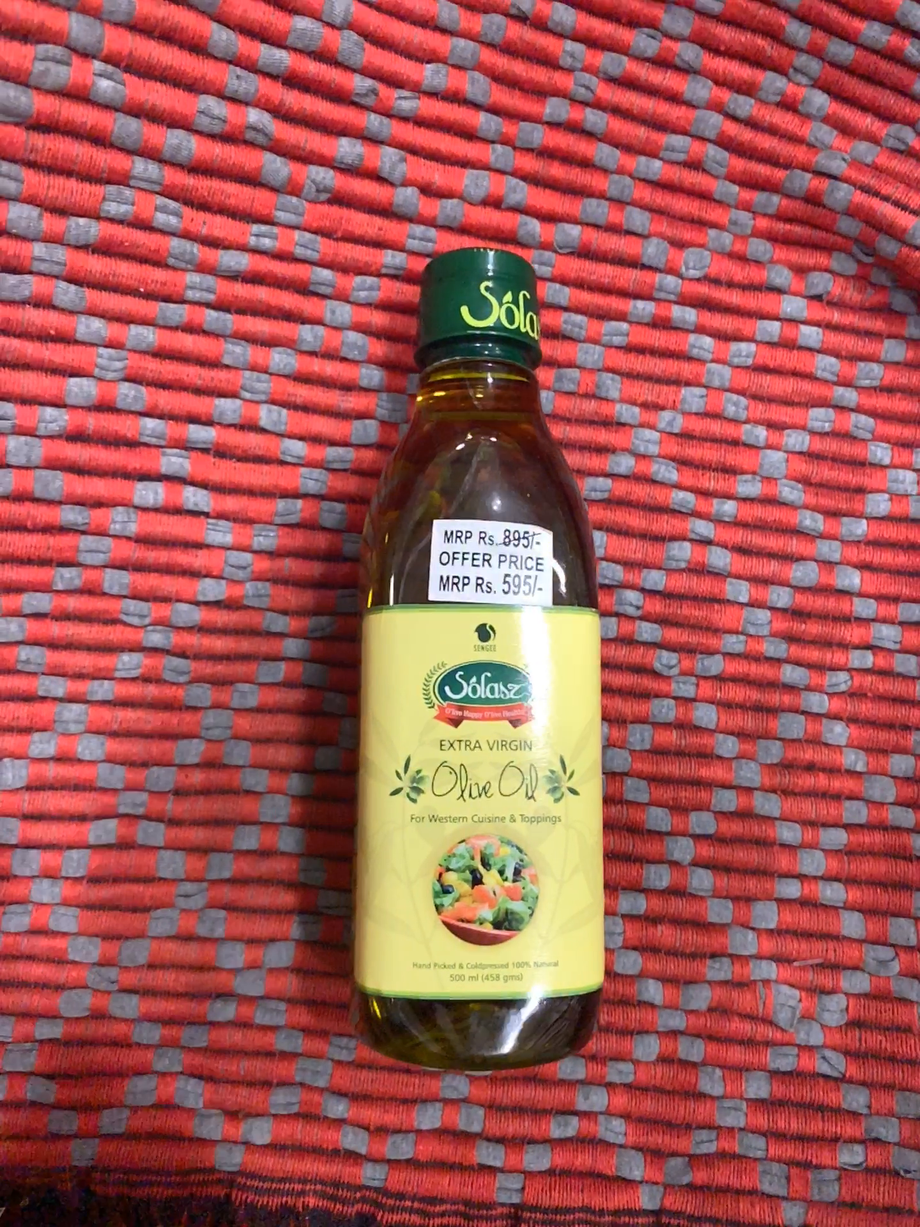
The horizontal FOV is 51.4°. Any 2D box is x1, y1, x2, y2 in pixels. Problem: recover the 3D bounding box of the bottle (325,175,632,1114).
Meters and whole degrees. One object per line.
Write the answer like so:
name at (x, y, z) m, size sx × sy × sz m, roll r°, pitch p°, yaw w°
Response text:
bottle at (0.003, 0.005, 0.238) m, size 0.060 × 0.070 × 0.200 m, roll 1°, pitch 80°, yaw -3°
